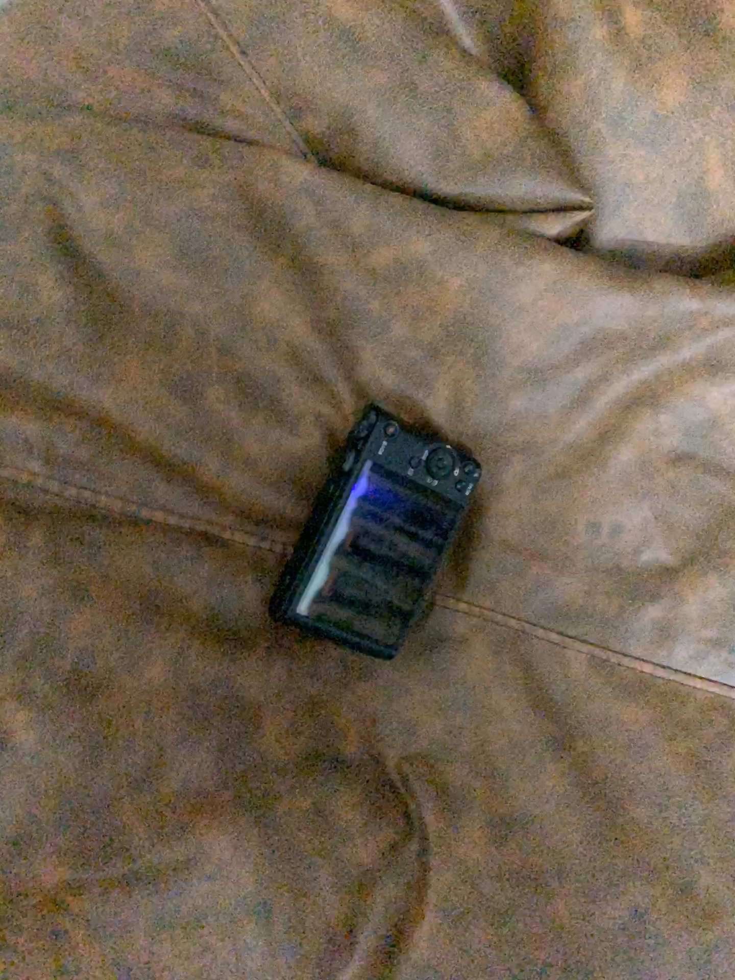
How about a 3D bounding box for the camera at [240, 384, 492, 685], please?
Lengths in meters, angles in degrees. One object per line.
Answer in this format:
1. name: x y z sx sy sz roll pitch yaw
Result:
1. camera: -0.001 0.017 0.300 0.060 0.024 0.100 25 87 -16
